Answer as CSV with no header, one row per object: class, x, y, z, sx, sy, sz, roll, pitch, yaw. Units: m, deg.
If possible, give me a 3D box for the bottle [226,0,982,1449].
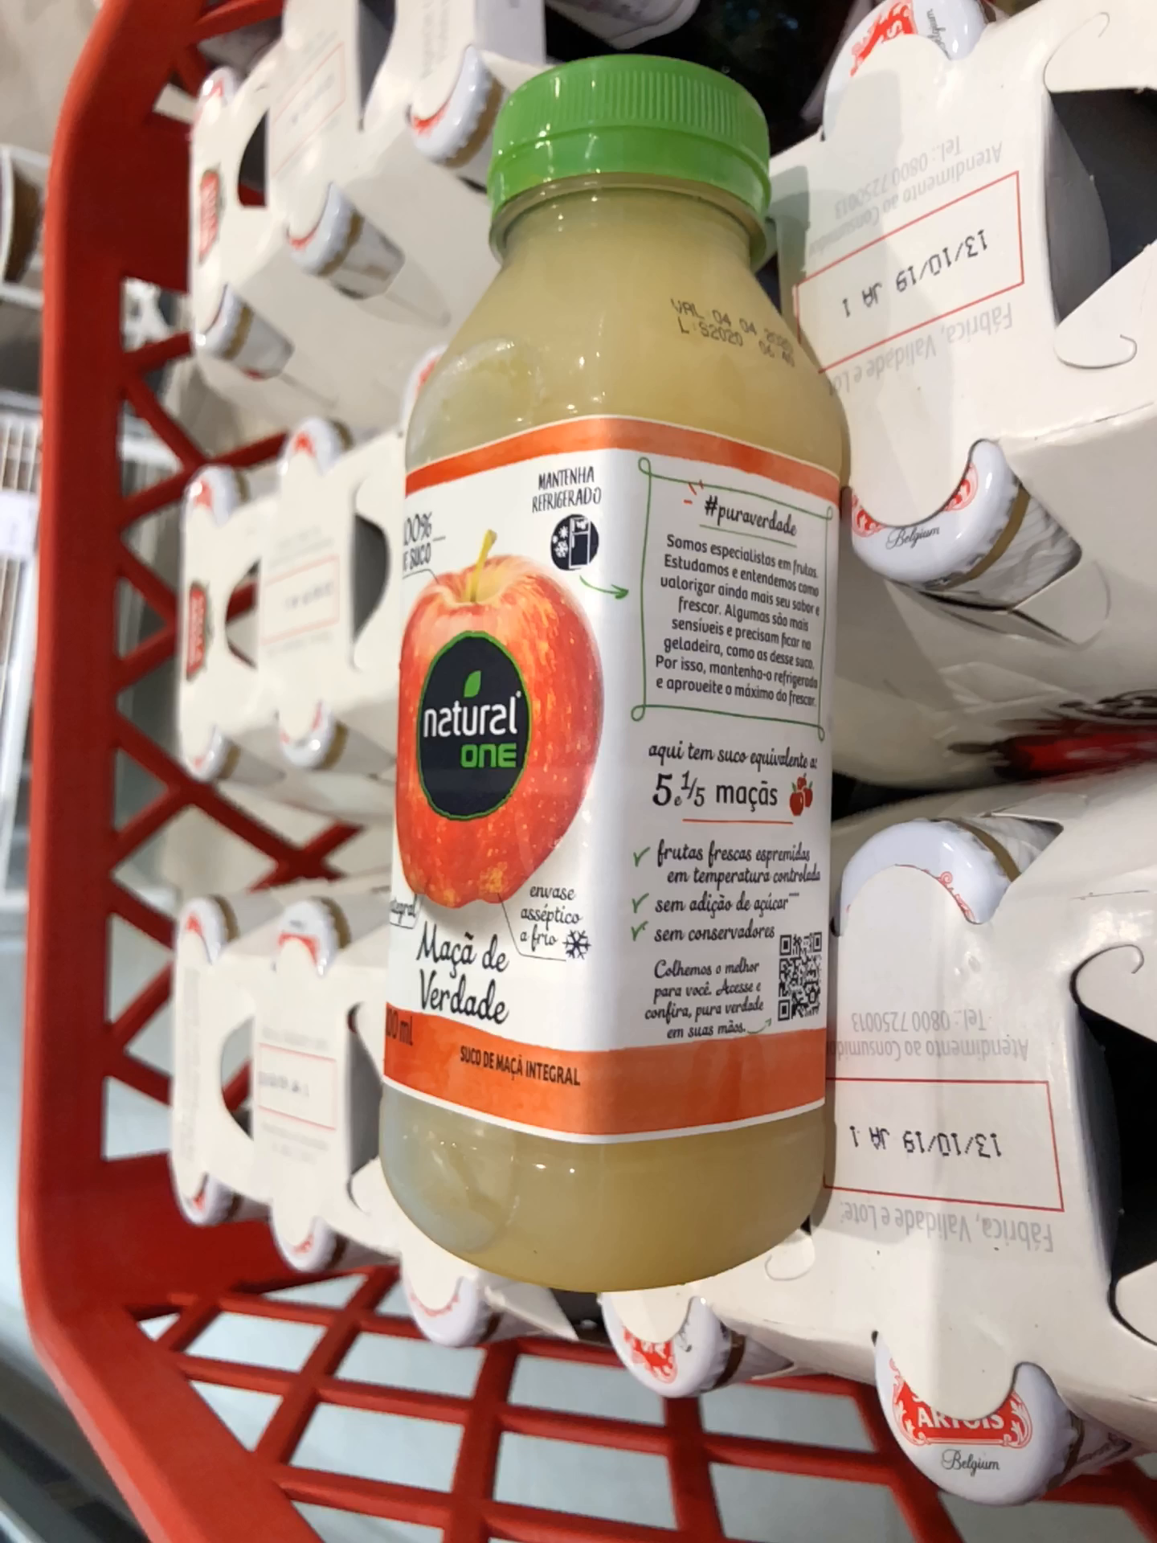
bottle,0.002,-0.021,0.173,0.060,0.060,0.180,3,87,53
